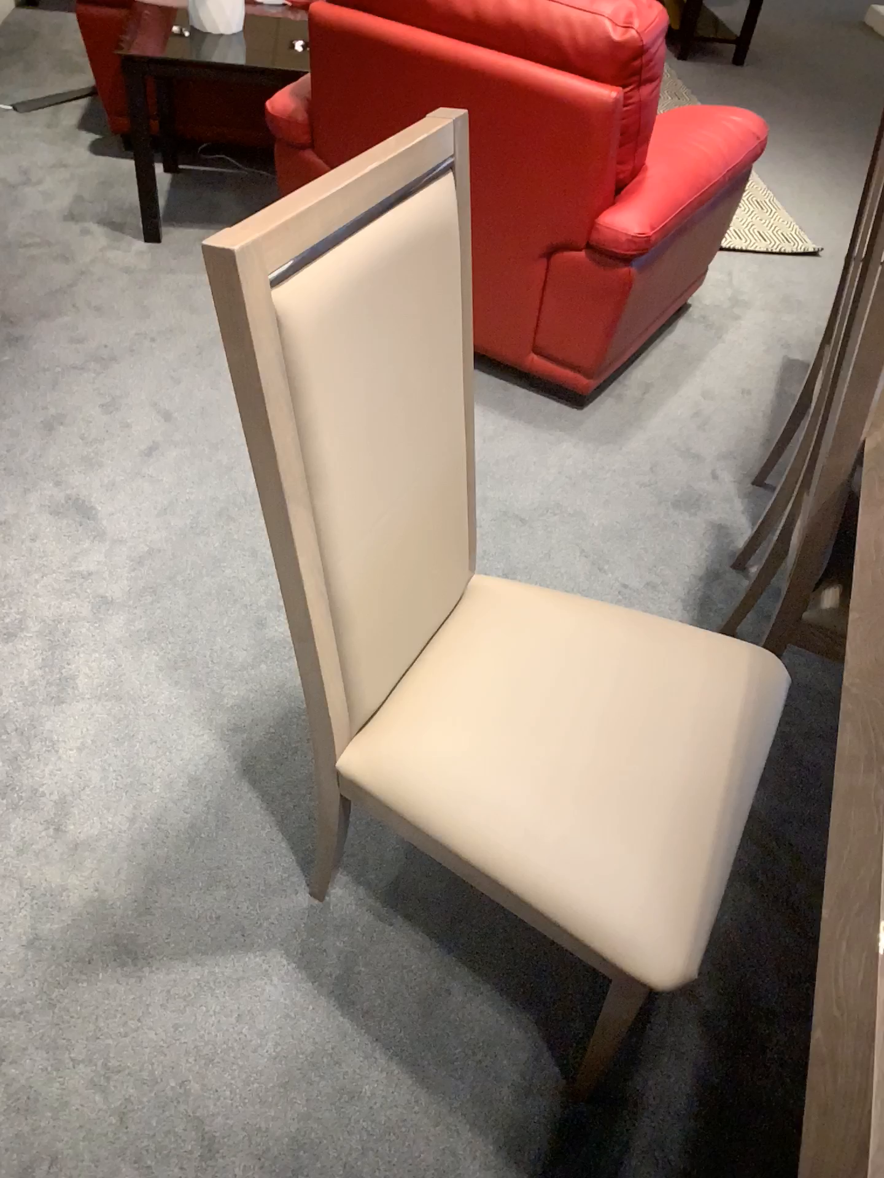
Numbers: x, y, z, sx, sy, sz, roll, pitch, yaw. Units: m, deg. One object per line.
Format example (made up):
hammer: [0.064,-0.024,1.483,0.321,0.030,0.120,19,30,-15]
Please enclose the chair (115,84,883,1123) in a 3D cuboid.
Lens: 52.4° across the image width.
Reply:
chair: [0.116,0.063,1.047,0.582,0.977,0.501,22,47,18]
